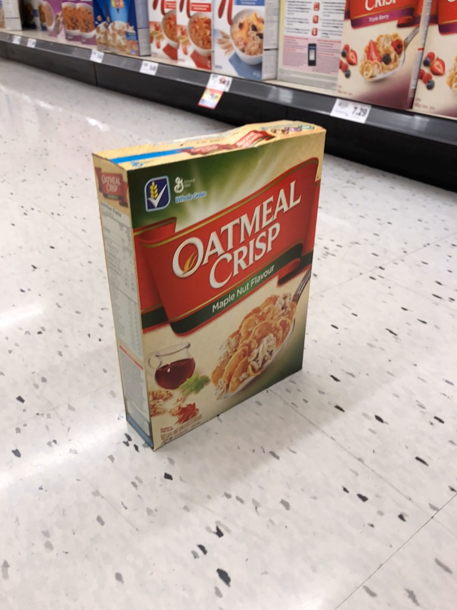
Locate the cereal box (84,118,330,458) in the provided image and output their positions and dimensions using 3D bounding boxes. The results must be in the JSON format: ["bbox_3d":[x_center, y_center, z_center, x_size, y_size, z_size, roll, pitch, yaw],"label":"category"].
[{"bbox_3d":[-0.009,-0.017,0.455,0.201,0.258,0.050,-22,38,-34],"label":"cereal box"}]
